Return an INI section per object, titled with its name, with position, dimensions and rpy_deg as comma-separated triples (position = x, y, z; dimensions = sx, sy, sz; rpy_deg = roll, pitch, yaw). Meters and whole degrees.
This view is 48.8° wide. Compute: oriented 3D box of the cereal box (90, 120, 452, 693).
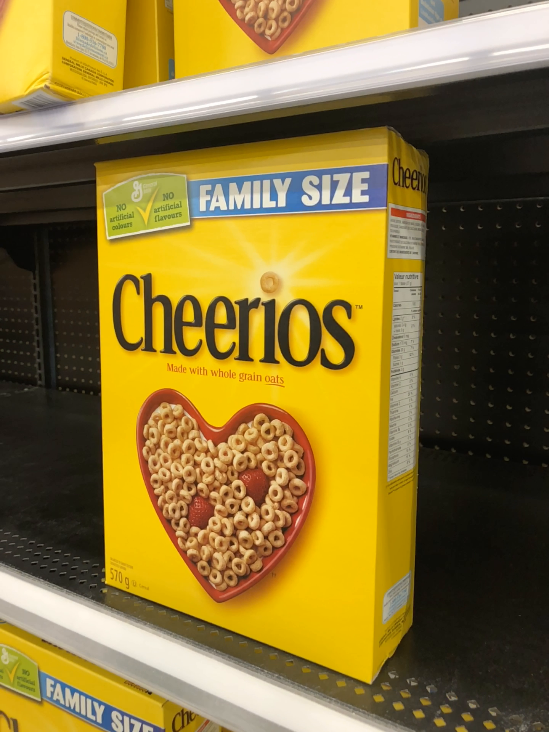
[cereal box]
position = -0.011, 0.018, 0.448
dimensions = 0.240, 0.339, 0.090
rpy_deg = 6, 10, 30
